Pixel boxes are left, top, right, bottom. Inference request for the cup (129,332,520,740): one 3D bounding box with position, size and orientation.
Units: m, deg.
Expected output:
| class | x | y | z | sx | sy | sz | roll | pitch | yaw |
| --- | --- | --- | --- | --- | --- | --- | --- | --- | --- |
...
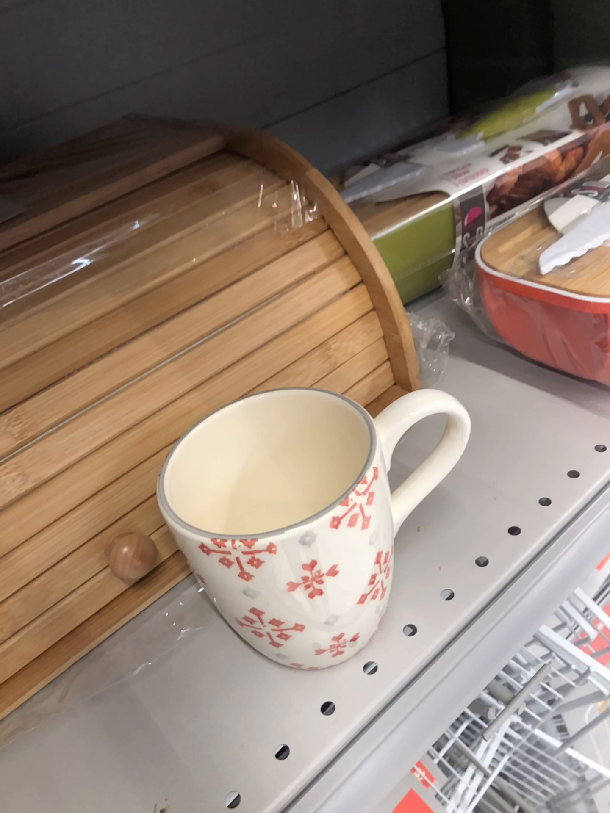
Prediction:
| class | x | y | z | sx | sy | sz | roll | pitch | yaw |
| --- | --- | --- | --- | --- | --- | --- | --- | --- | --- |
| cup | 0.010 | 0.048 | 0.287 | 0.124 | 0.089 | 0.090 | -25 | 38 | -14 |
